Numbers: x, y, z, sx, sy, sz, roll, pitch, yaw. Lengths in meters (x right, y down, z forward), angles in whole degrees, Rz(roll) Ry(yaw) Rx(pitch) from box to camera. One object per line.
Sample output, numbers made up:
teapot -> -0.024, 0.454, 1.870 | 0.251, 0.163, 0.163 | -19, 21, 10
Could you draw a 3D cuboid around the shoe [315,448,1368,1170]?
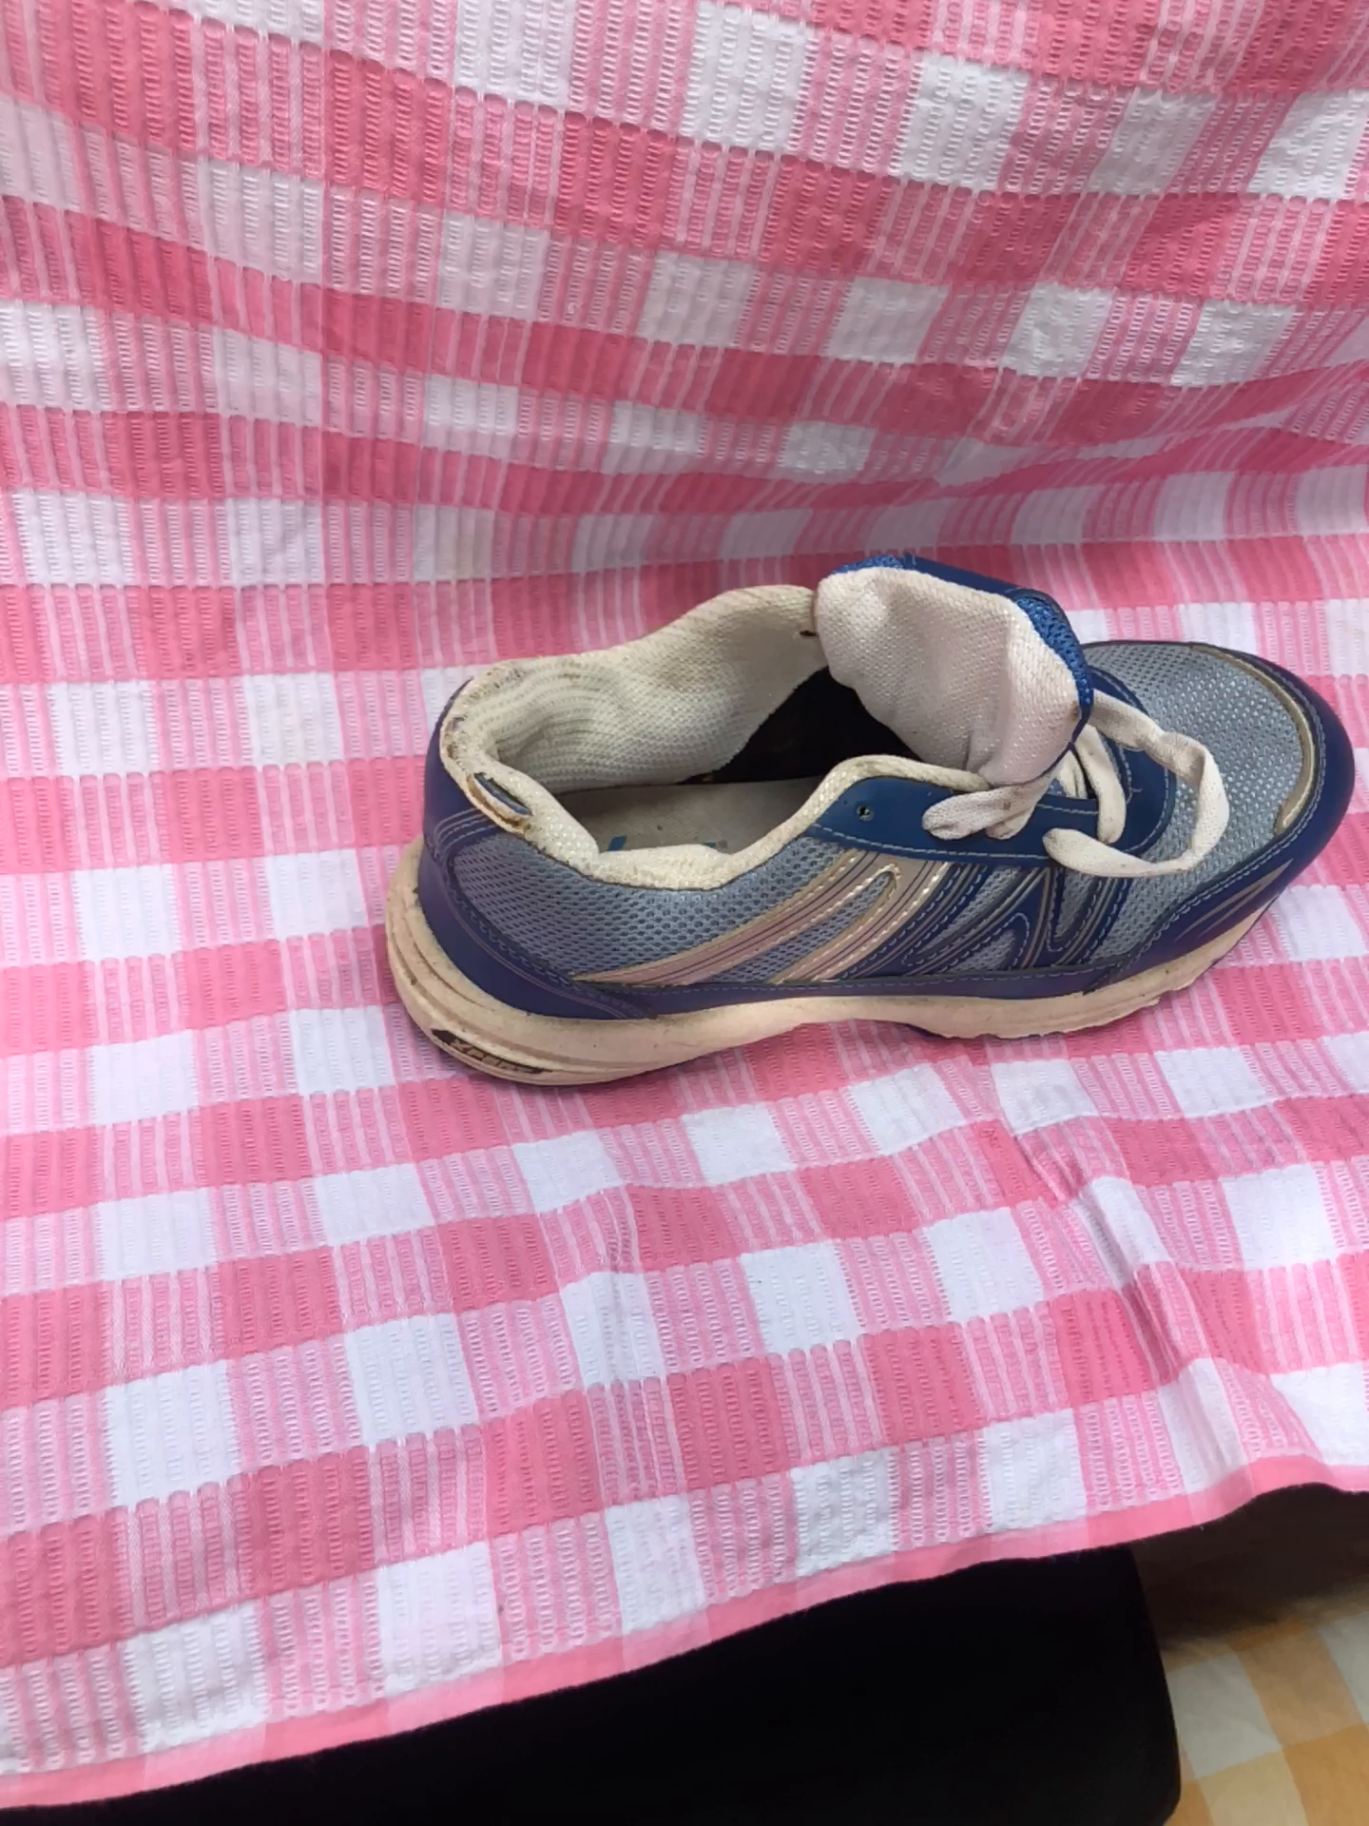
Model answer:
shoe -> 0.059, -0.031, 0.390 | 0.280, 0.100, 0.110 | -9, 55, -12
